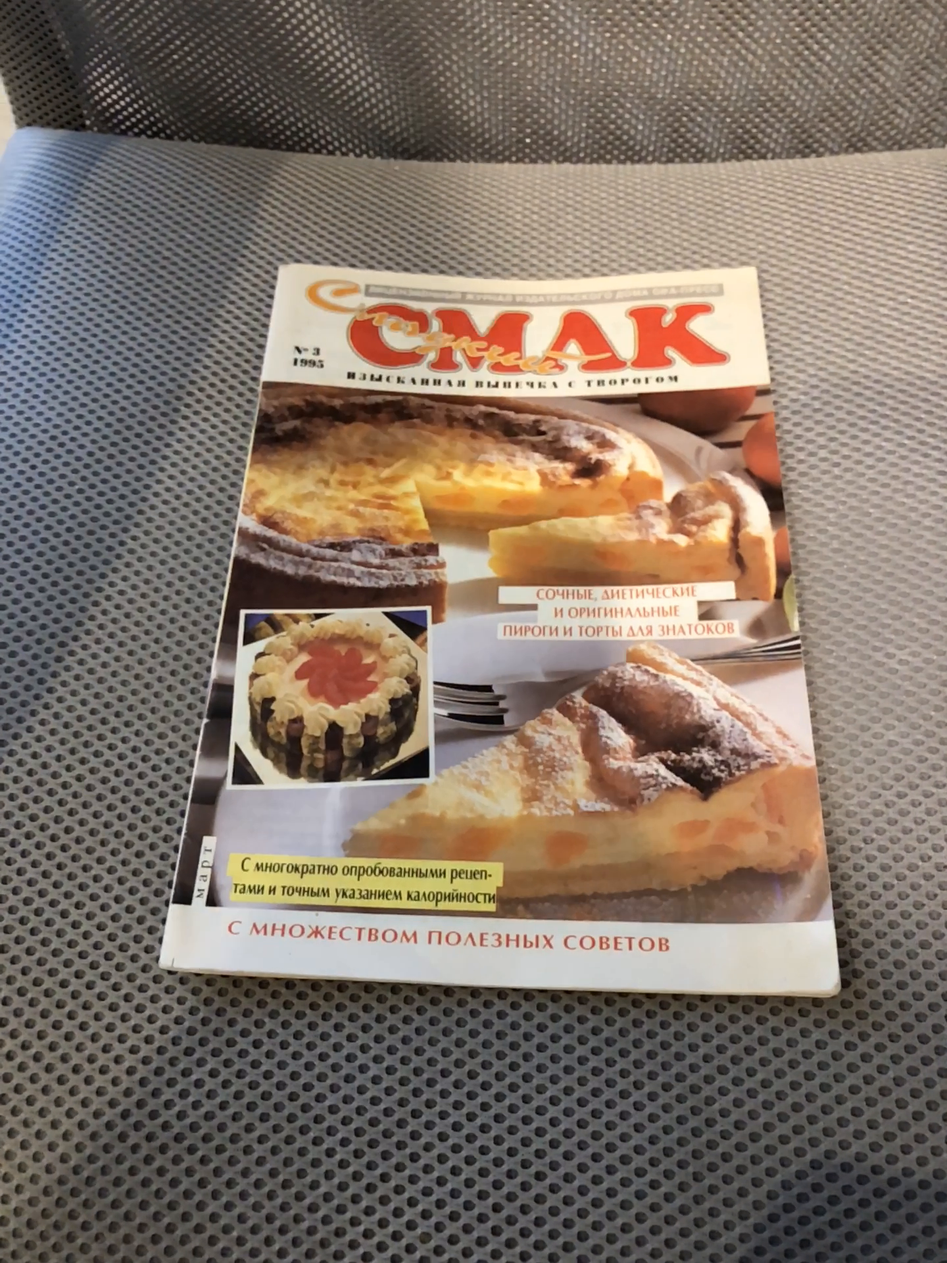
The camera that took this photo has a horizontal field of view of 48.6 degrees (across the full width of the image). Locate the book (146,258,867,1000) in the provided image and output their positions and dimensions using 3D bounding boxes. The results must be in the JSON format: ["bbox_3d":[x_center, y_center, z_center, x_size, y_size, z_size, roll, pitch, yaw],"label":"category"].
[{"bbox_3d":[0.011,-0.017,0.307,0.174,0.010,0.232,0,64,4],"label":"book"}]
